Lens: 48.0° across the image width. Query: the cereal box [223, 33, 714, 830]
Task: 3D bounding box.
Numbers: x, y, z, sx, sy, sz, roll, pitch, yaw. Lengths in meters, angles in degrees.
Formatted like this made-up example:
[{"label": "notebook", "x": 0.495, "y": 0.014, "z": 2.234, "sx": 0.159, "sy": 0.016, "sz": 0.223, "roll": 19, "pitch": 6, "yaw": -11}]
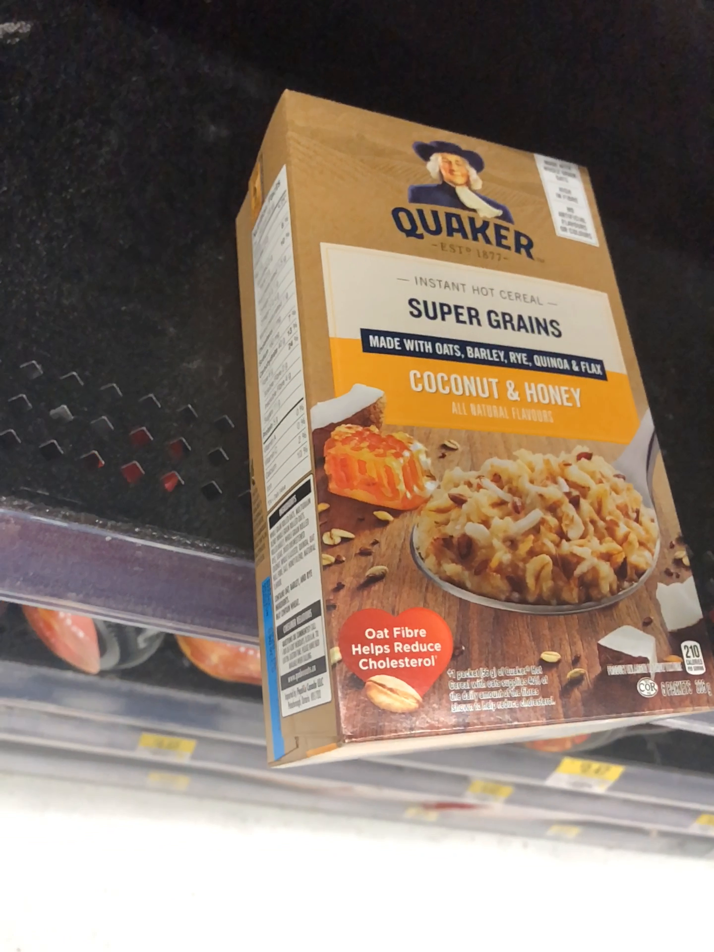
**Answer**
[{"label": "cereal box", "x": 0.034, "y": -0.018, "z": 0.260, "sx": 0.140, "sy": 0.060, "sz": 0.230, "roll": 5, "pitch": 64, "yaw": -22}]
